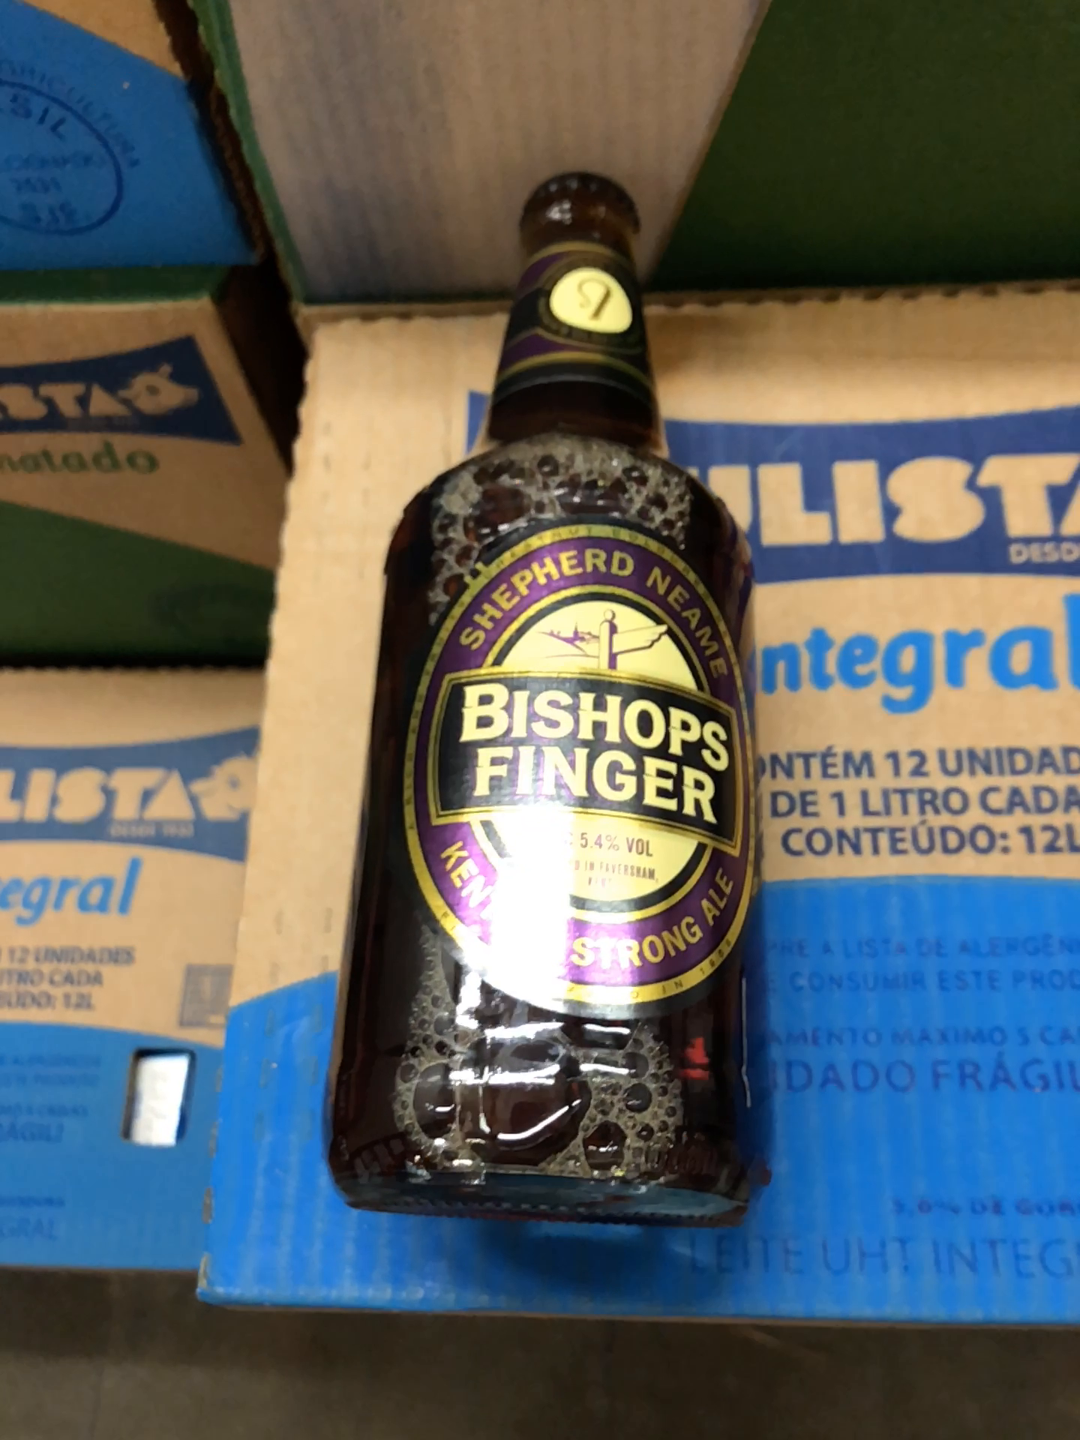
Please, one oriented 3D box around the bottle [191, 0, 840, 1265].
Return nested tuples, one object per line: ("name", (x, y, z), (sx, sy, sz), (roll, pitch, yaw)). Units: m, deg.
("bottle", (0.003, -0.035, 0.235), (0.080, 0.070, 0.251), (0, 64, 4))
